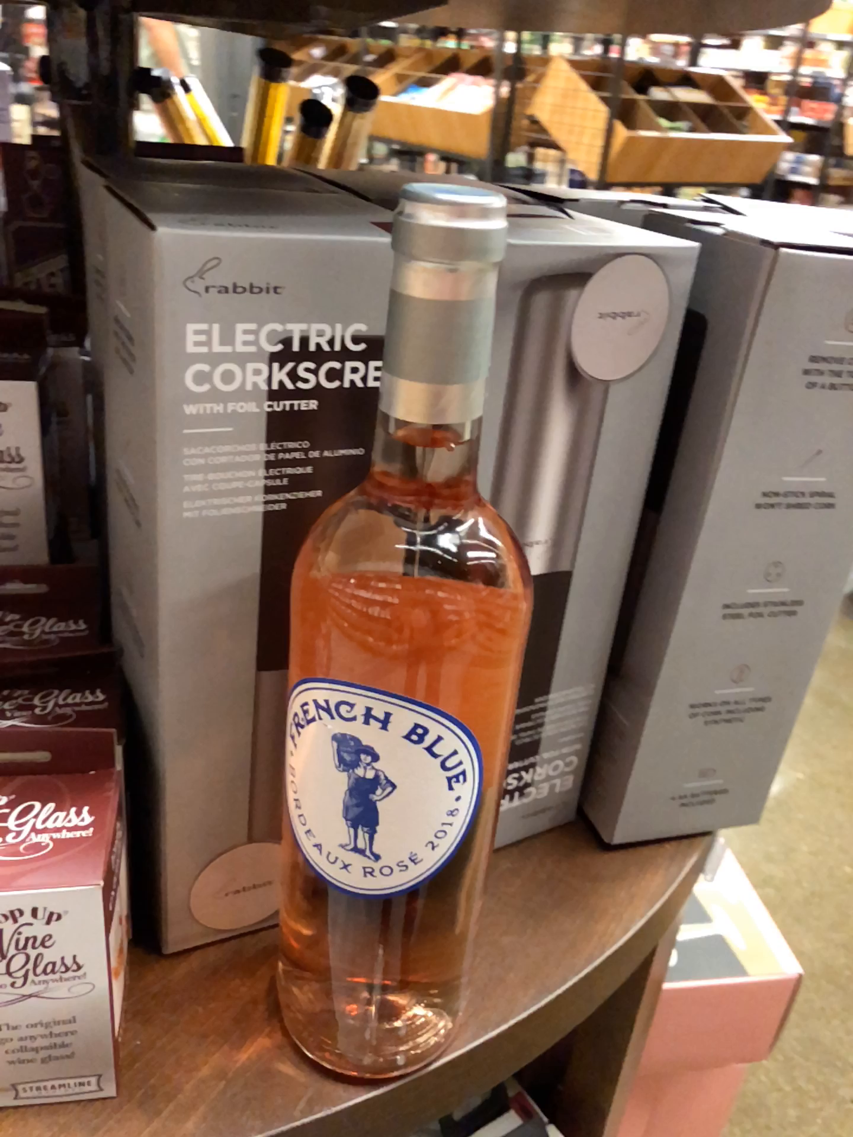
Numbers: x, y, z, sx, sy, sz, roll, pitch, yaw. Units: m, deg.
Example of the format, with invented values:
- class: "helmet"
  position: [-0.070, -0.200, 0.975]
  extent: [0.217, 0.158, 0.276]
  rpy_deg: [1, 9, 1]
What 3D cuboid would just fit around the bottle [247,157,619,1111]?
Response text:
- class: "bottle"
  position: [-0.006, 0.034, 0.297]
  extent: [0.078, 0.289, 0.080]
  rpy_deg: [4, 27, -2]
